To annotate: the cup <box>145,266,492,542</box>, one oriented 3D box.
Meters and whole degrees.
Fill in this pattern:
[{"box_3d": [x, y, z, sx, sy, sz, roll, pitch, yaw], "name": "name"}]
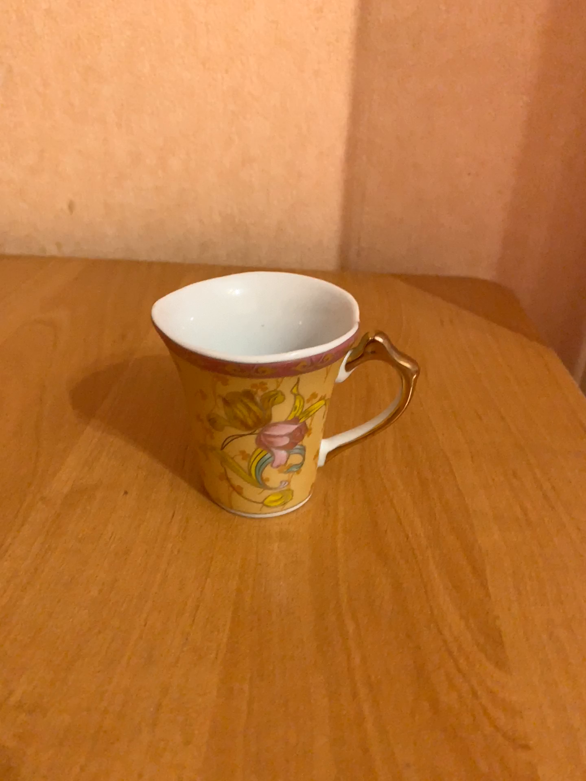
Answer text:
[{"box_3d": [0.003, -0.001, 0.209, 0.094, 0.061, 0.072, -3, 29, -8], "name": "cup"}]
